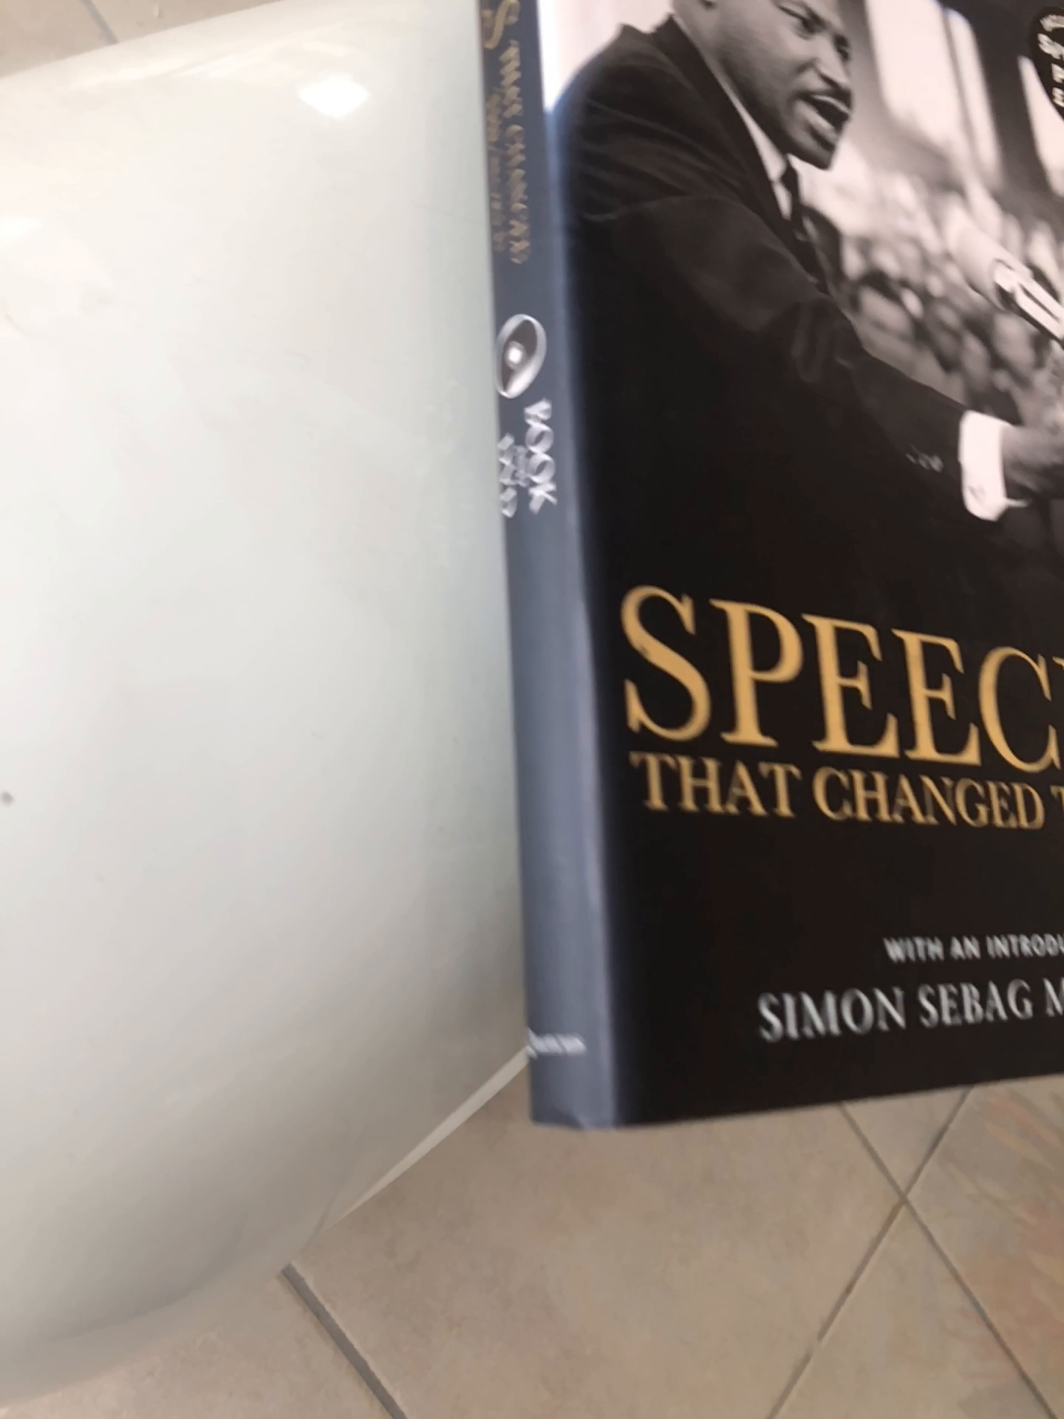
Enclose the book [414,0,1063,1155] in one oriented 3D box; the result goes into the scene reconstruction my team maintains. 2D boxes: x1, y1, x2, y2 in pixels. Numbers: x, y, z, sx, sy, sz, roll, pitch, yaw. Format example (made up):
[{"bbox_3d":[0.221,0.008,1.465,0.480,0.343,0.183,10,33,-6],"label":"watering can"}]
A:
[{"bbox_3d":[0.083,-0.069,0.259,0.211,0.040,0.290,6,72,-32],"label":"book"}]
